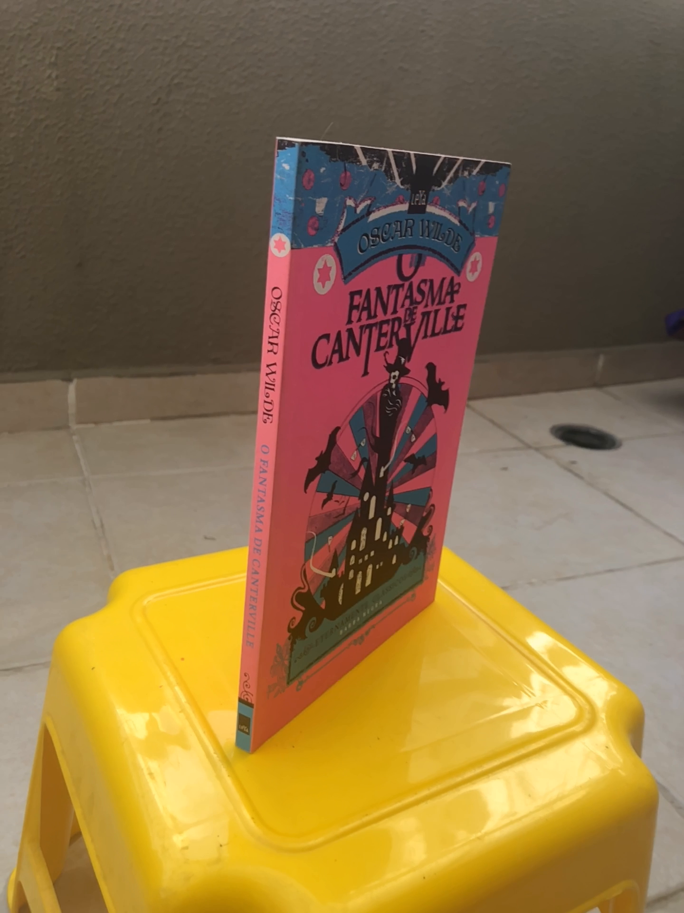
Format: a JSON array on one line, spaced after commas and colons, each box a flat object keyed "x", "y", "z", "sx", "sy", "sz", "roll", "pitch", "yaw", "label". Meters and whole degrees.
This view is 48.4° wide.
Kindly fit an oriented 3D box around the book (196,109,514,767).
[{"x": 0.007, "y": -0.010, "z": 0.300, "sx": 0.020, "sy": 0.219, "sz": 0.151, "roll": 20, "pitch": 26, "yaw": 30, "label": "book"}]
